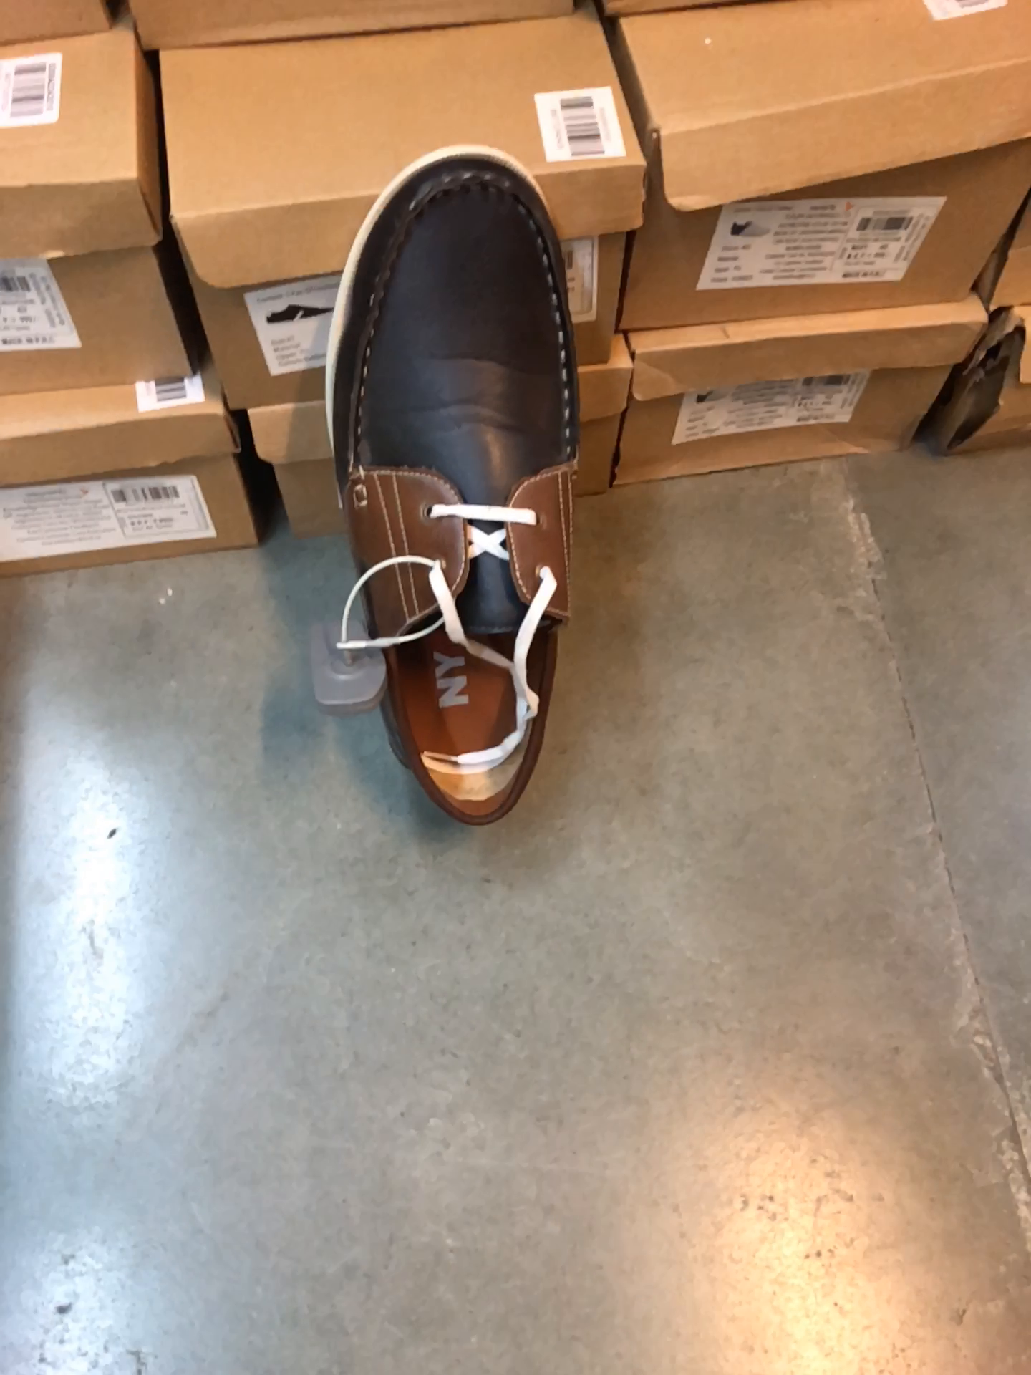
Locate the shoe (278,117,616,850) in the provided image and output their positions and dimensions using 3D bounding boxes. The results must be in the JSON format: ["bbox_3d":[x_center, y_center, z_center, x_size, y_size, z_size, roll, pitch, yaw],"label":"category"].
[{"bbox_3d":[-0.023,-0.075,0.450,0.102,0.263,0.099,-3,29,-5],"label":"shoe"}]
